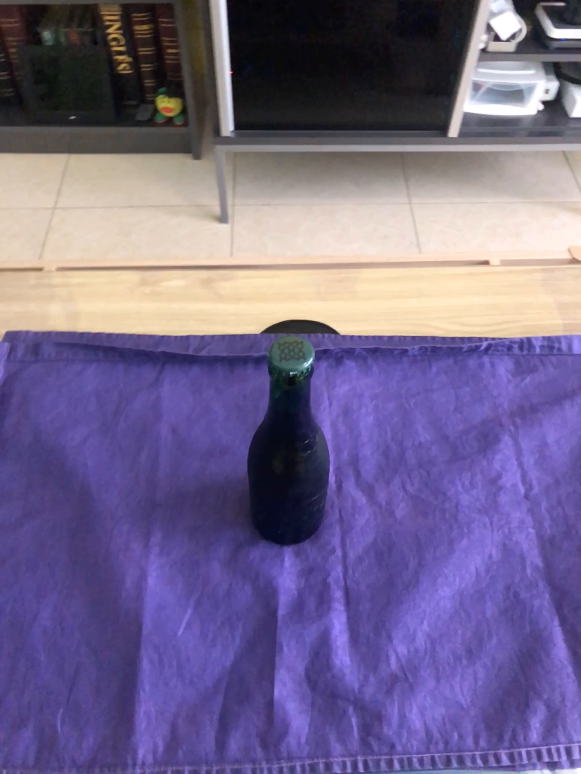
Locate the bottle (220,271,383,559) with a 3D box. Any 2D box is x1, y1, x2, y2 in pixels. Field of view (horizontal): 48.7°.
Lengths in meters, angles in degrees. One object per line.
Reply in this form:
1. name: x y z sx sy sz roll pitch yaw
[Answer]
1. bottle: 0.007 0.033 0.451 0.070 0.219 0.080 16 56 10
